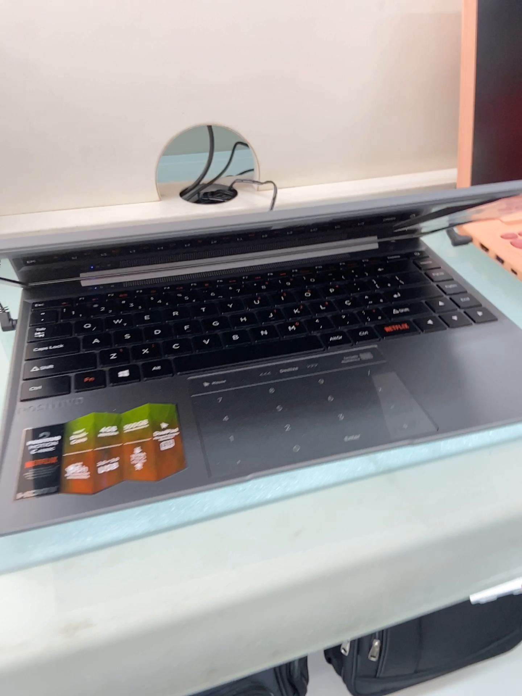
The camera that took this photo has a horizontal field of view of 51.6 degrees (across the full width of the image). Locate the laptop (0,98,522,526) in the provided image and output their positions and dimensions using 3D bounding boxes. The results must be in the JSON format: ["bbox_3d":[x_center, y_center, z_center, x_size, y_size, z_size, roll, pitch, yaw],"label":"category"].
[{"bbox_3d":[0.014,-0.054,0.323,0.333,0.113,0.211,-9,38,-12],"label":"laptop"}]
